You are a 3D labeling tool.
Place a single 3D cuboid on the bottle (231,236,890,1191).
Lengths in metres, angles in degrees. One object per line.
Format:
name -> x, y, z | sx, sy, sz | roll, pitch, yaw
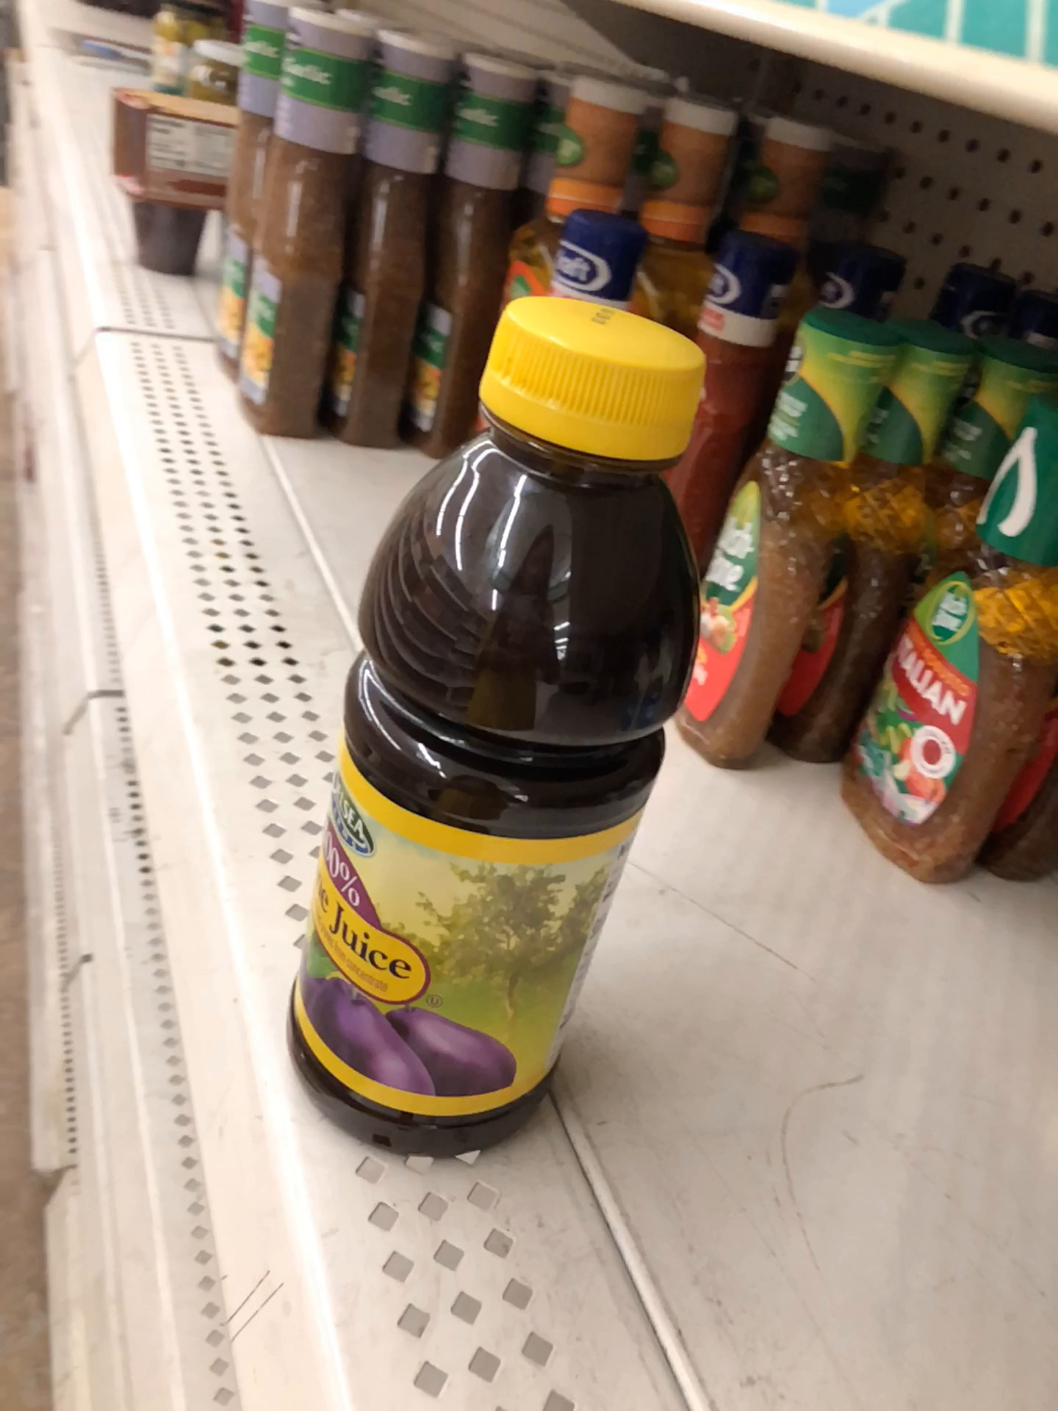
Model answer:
bottle -> -0.010, 0.007, 0.257 | 0.080, 0.181, 0.080 | 11, 31, -7
